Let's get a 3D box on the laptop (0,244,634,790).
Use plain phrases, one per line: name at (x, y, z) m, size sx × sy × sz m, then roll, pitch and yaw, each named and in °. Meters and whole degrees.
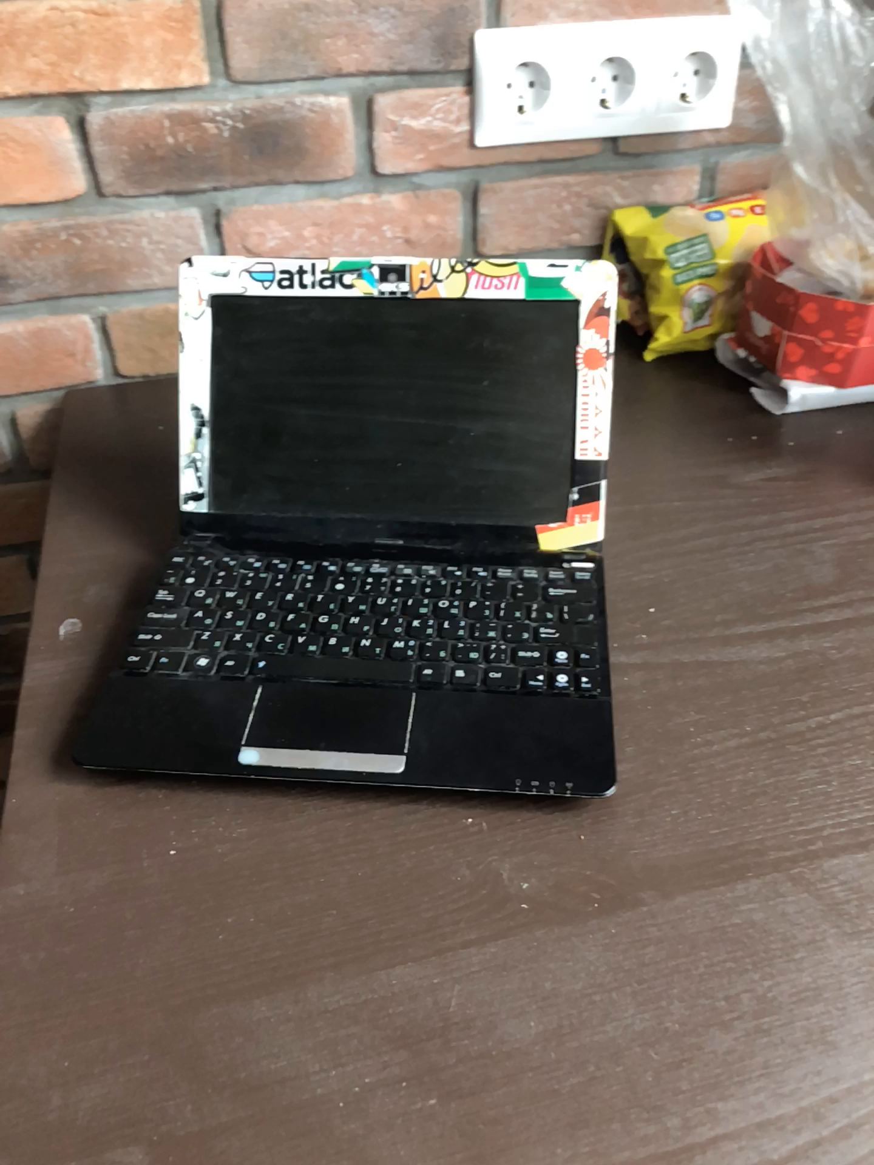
laptop at (-0.039, -0.055, 0.502) m, size 0.257 × 0.139 × 0.269 m, roll 3°, pitch 39°, yaw 6°
